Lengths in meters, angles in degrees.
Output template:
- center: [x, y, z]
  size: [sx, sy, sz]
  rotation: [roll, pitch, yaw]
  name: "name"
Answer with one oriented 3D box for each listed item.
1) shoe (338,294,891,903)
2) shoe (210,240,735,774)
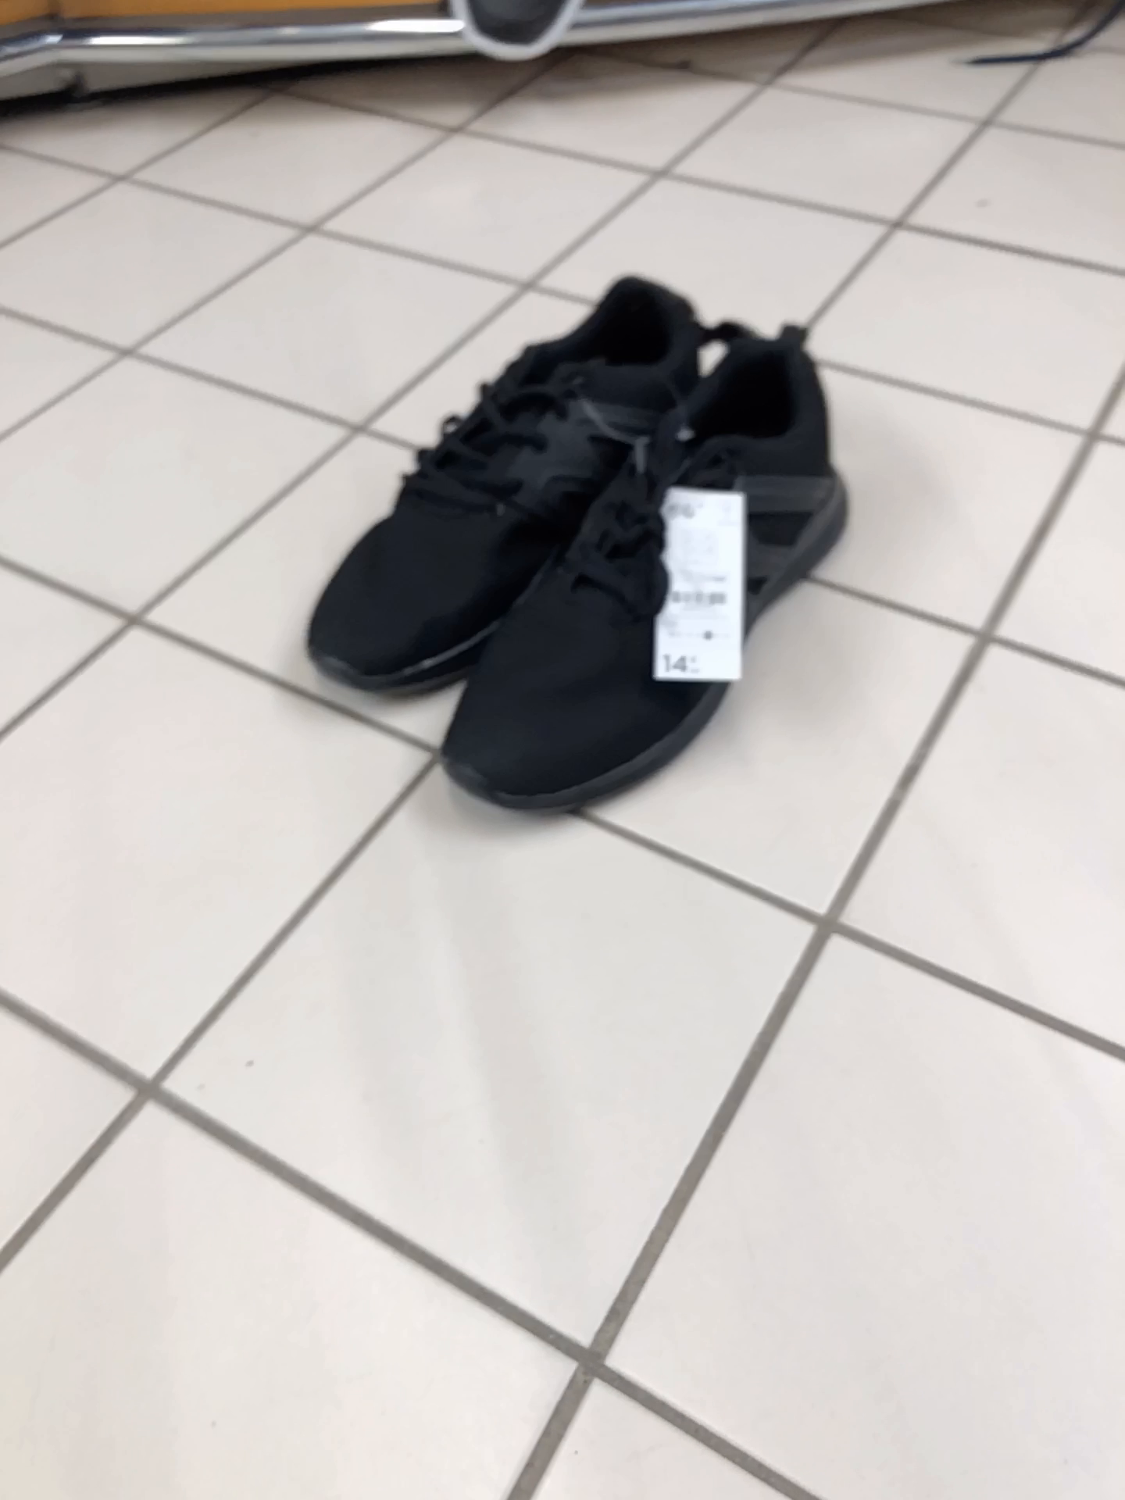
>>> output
- center: [0.040, -0.089, 0.605]
  size: [0.100, 0.109, 0.312]
  rotation: [25, 54, 23]
  name: "shoe"
- center: [-0.029, -0.143, 0.669]
  size: [0.100, 0.109, 0.312]
  rotation: [25, 54, 23]
  name: "shoe"
